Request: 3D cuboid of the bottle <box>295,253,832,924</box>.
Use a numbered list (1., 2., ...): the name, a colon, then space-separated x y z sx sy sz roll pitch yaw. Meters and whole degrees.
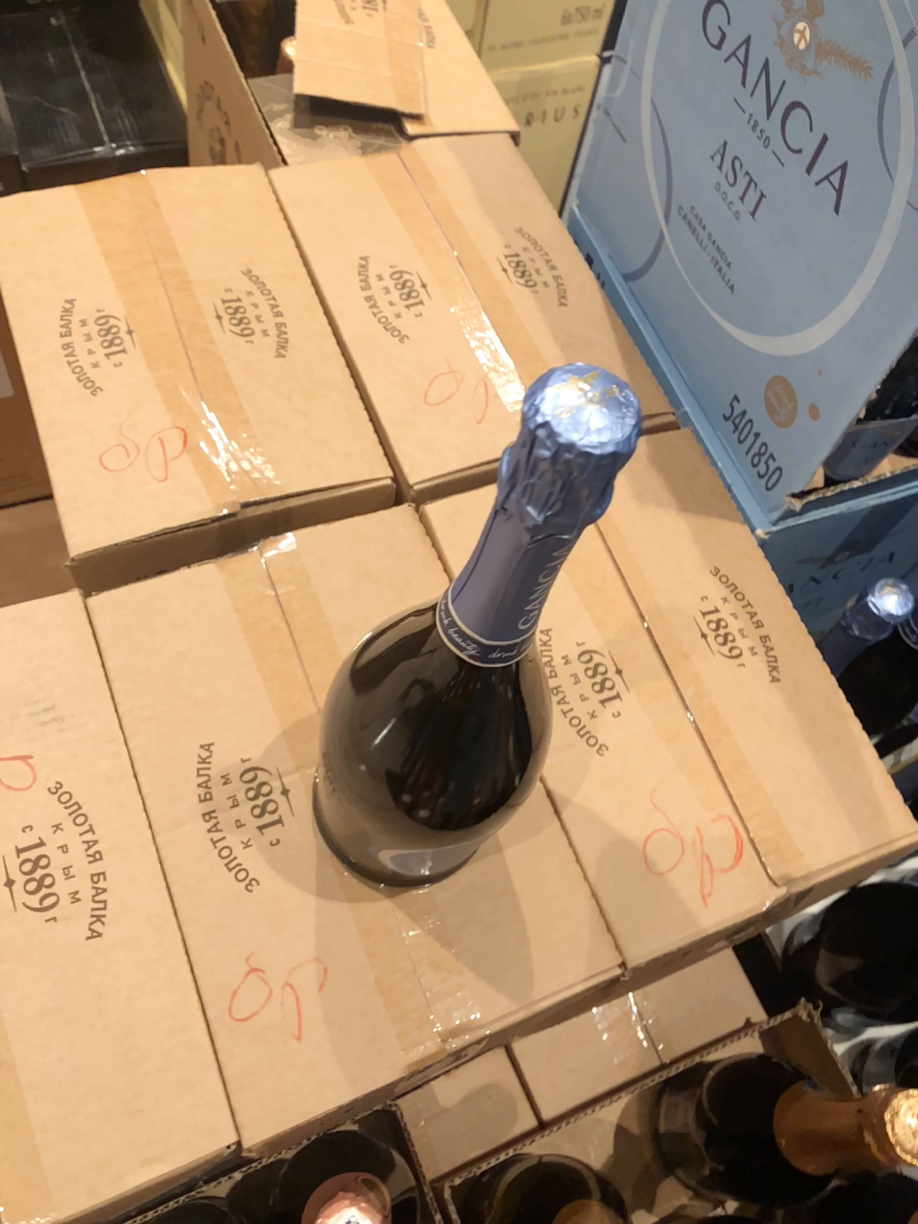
1. bottle: 0.005 0.023 0.381 0.101 0.299 0.090 -19 67 -19
